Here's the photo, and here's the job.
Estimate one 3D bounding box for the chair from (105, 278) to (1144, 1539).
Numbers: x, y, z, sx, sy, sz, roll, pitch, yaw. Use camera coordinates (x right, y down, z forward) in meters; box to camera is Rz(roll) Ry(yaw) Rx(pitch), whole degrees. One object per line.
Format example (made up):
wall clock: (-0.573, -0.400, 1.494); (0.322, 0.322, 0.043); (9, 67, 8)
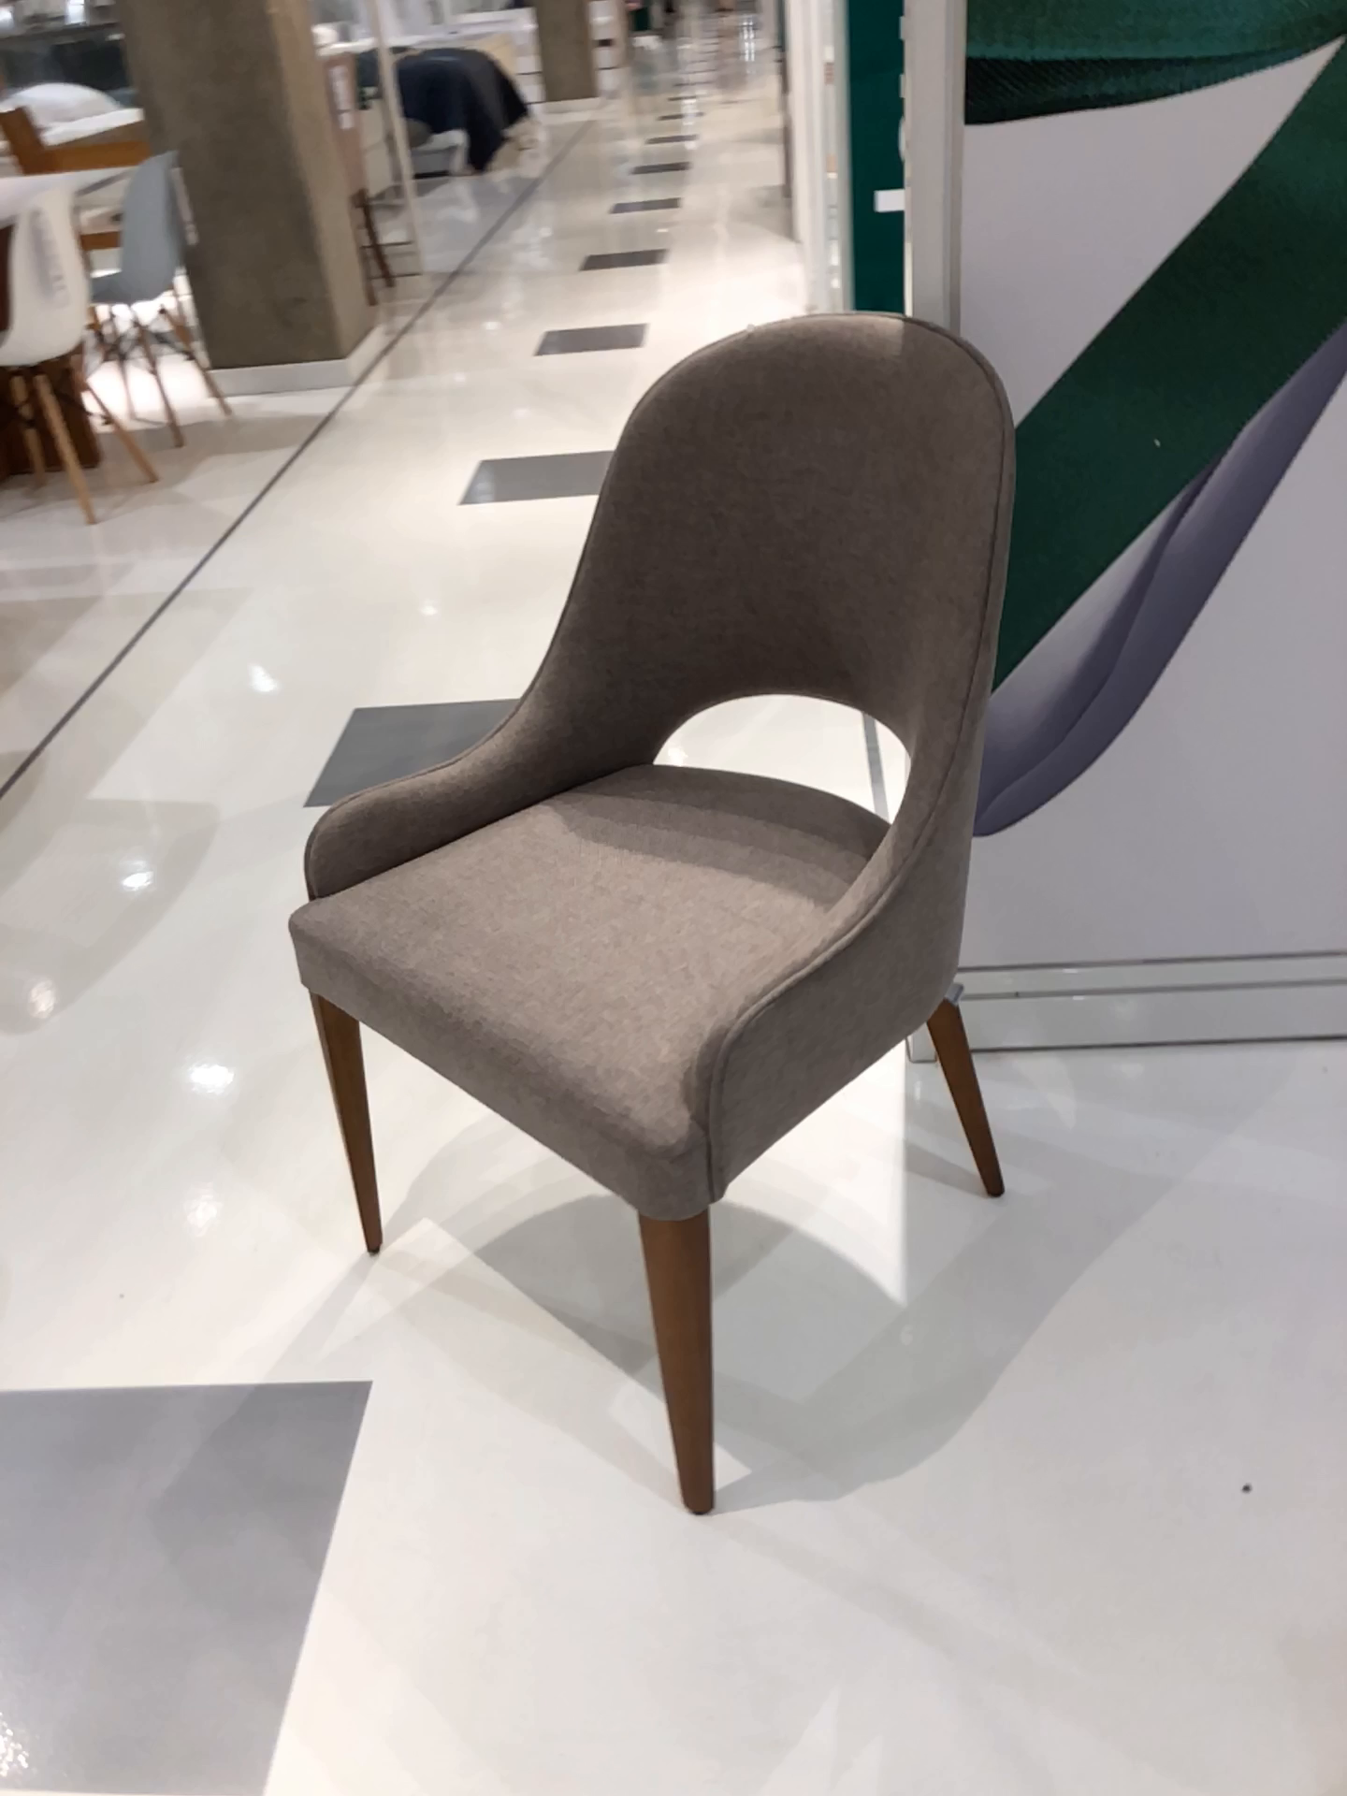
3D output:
chair: (-0.003, -0.041, 1.415); (0.612, 0.893, 0.572); (-31, 40, -34)
